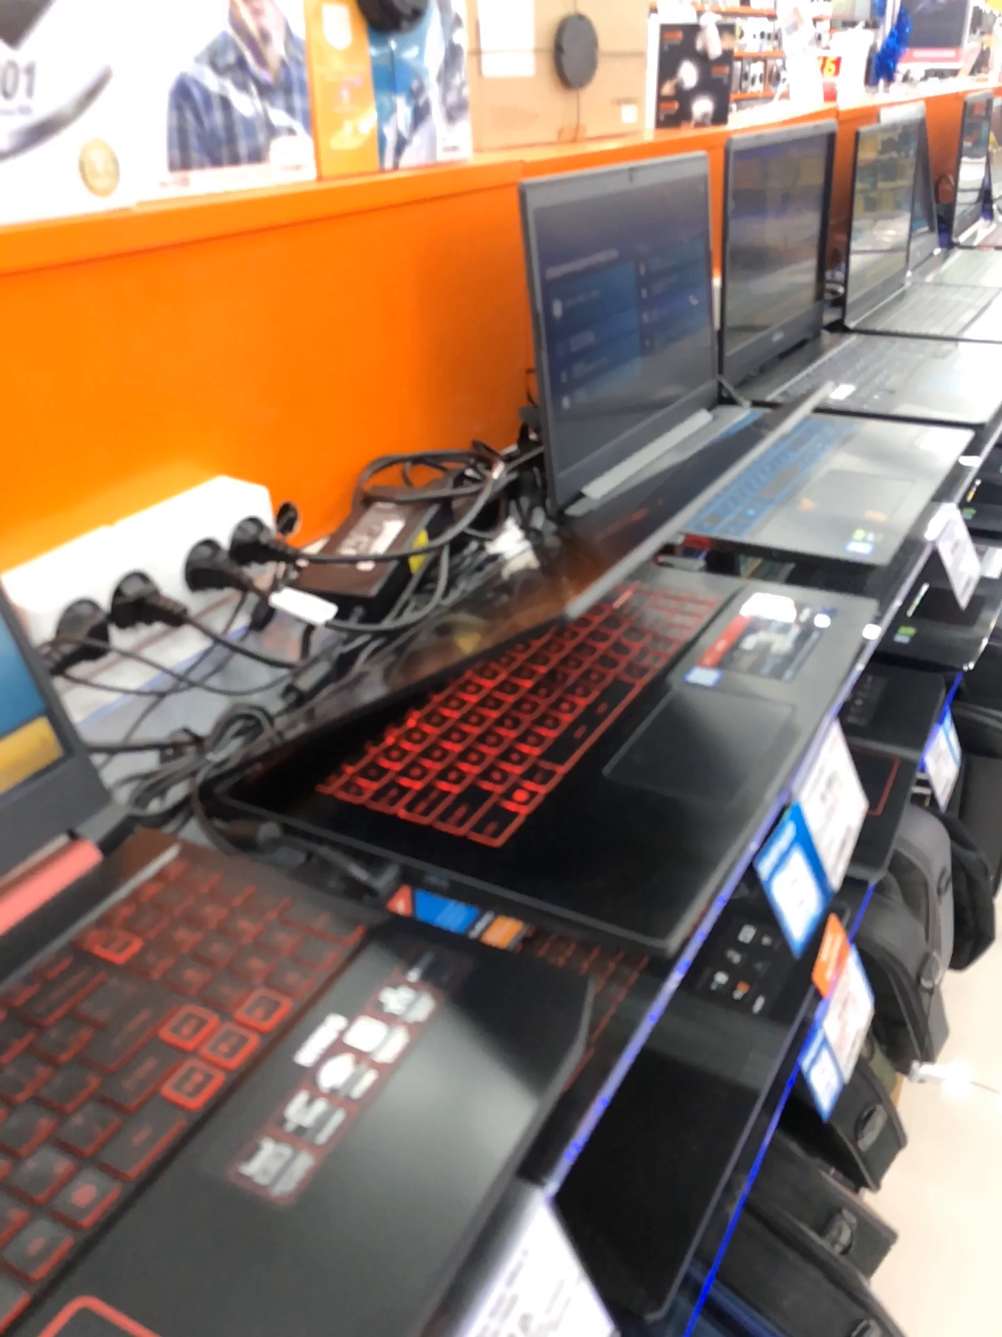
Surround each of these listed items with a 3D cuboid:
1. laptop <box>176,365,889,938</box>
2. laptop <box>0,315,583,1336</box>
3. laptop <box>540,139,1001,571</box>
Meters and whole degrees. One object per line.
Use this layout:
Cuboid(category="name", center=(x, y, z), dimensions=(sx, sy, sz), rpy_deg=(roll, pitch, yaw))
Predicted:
Cuboid(category="laptop", center=(0.045, -0.050, 0.577), dimensions=(0.225, 0.134, 0.348), rpy_deg=(13, 31, 27))
Cuboid(category="laptop", center=(-0.209, 0.062, 0.282), dimensions=(0.329, 0.225, 0.367), rpy_deg=(13, 31, 26))
Cuboid(category="laptop", center=(0.224, -0.280, 0.875), dimensions=(0.278, 0.228, 0.327), rpy_deg=(16, 35, 31))
